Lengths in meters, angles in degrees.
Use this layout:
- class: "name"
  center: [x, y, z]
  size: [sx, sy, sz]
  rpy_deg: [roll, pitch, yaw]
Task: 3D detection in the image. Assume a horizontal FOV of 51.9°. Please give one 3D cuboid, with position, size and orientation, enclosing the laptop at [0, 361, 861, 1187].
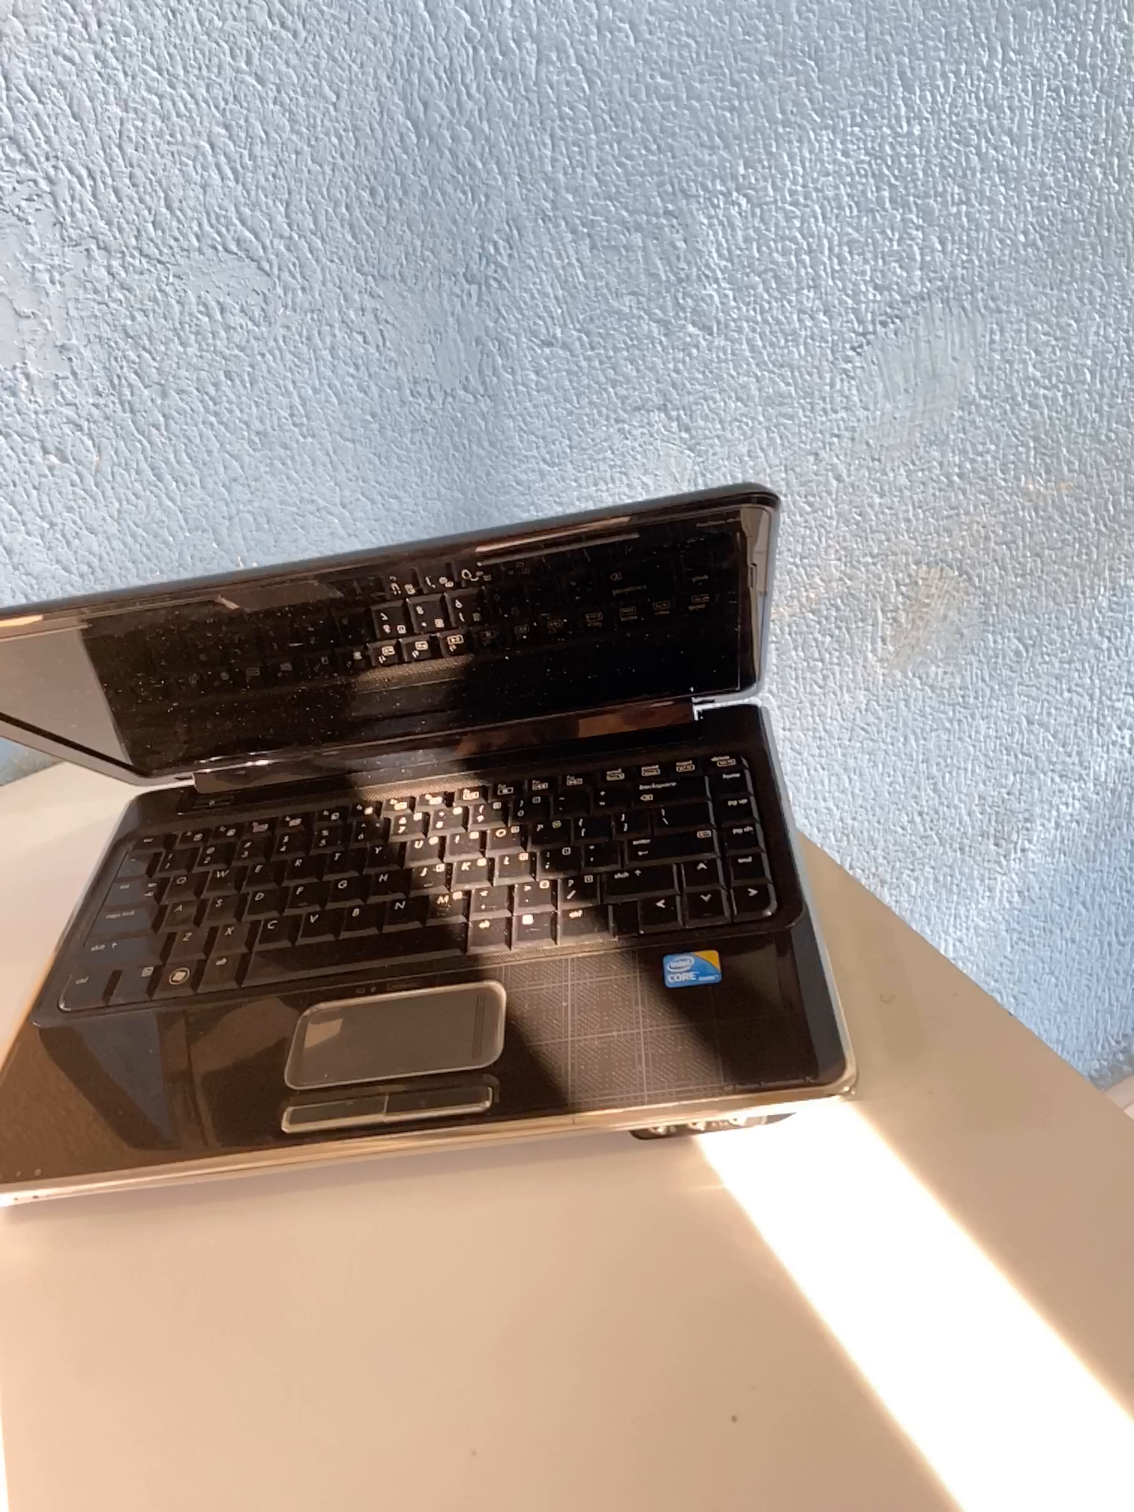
- class: "laptop"
  center: [-0.077, -0.003, 0.448]
  size: [0.325, 0.165, 0.226]
  rpy_deg: [-8, 35, 6]
